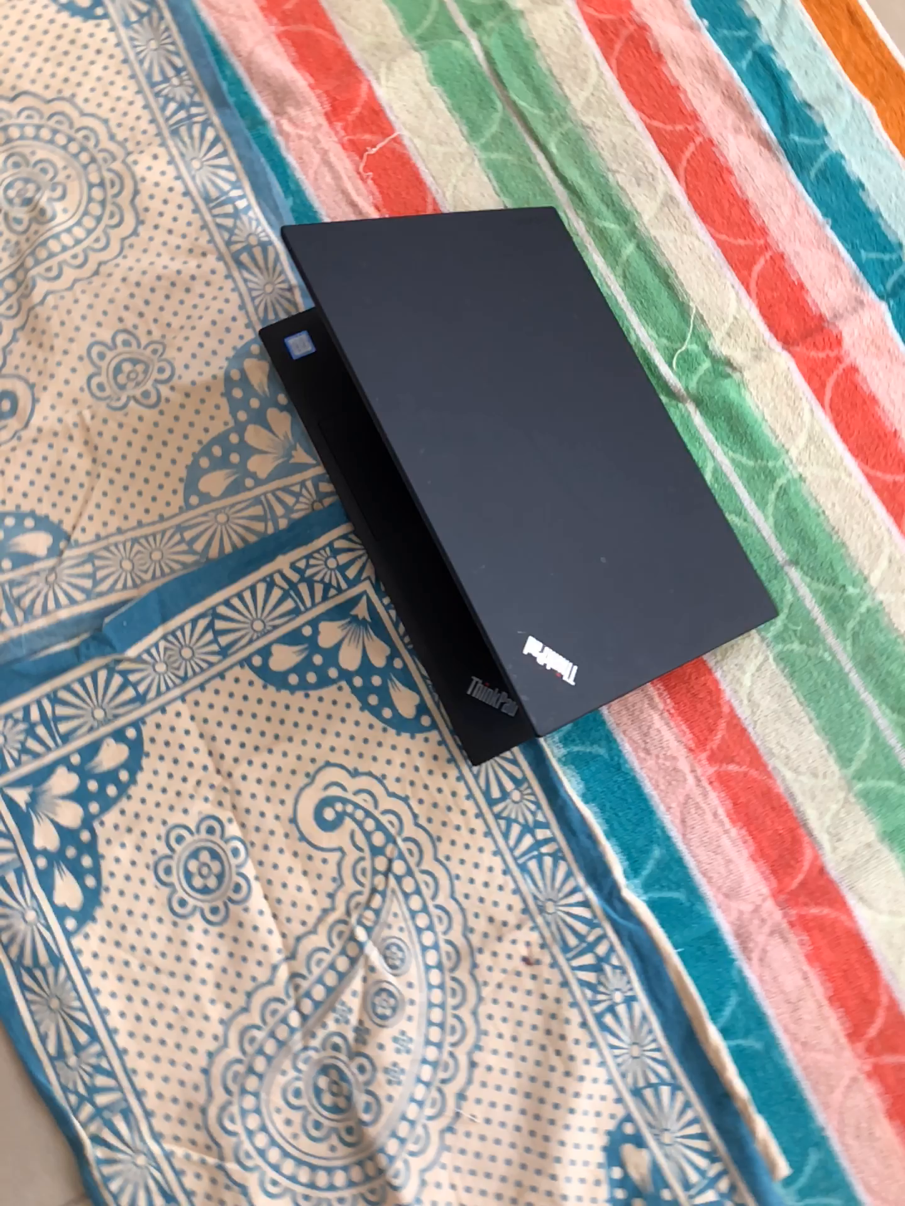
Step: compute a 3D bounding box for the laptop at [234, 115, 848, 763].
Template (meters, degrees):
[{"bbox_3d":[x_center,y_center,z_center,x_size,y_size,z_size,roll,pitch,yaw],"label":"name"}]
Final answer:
[{"bbox_3d":[0.052,-0.103,0.666,0.243,0.122,0.345,-26,83,-10],"label":"laptop"}]
